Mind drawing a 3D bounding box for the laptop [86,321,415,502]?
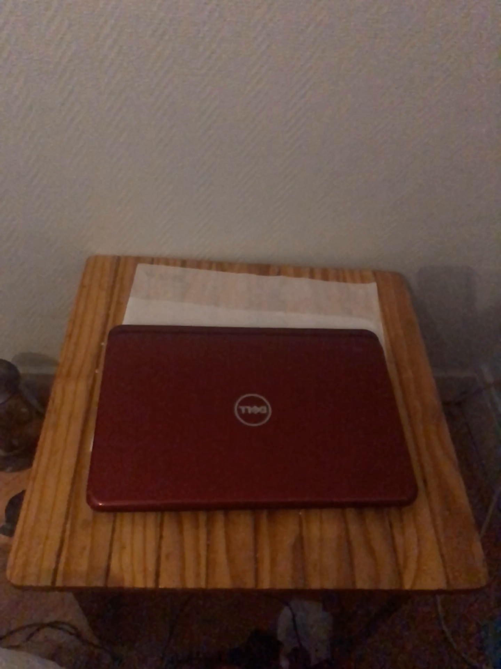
[{"bbox_3d":[-0.001,0.084,0.692,0.365,0.011,0.247,1,51,-6],"label":"laptop"}]
